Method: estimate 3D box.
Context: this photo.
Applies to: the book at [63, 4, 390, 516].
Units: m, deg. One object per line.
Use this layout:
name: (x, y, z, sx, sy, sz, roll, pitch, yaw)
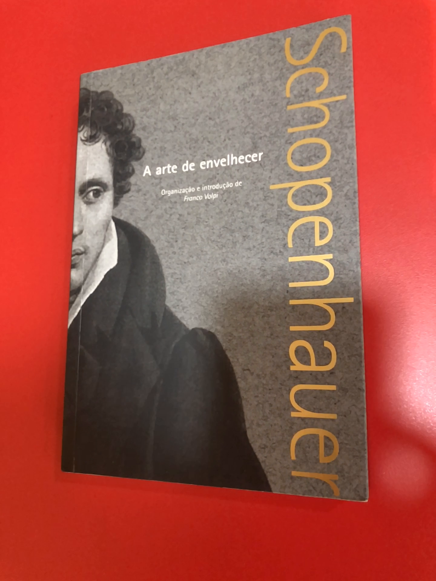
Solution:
book: (-0.001, -0.015, 0.215, 0.137, 0.017, 0.196, -2, 82, 20)
